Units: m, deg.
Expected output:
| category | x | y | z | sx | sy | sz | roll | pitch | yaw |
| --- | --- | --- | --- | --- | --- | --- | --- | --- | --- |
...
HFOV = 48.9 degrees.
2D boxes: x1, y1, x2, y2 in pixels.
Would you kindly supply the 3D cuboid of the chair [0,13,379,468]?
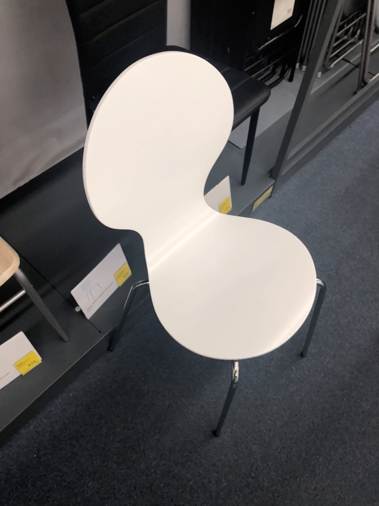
| category | x | y | z | sx | sy | sz | roll | pitch | yaw |
| --- | --- | --- | --- | --- | --- | --- | --- | --- | --- |
| chair | 0.043 | 0.029 | 1.067 | 0.561 | 0.818 | 0.640 | -36 | 66 | -24 |
